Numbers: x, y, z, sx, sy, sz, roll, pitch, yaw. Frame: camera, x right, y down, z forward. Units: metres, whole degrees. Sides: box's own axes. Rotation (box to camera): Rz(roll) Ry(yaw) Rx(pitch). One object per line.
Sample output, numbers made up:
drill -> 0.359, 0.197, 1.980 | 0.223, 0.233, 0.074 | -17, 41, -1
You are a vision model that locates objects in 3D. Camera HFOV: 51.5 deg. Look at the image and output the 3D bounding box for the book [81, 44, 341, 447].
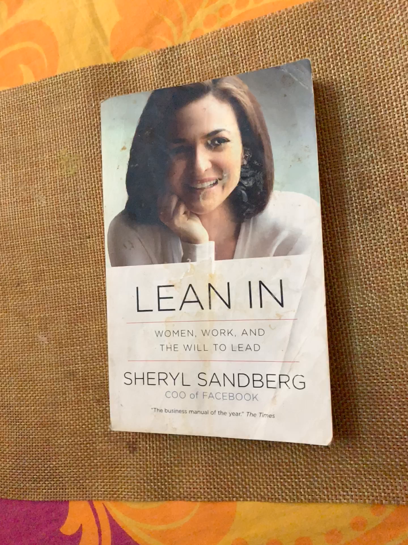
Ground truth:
book -> -0.001, -0.012, 0.254 | 0.141, 0.026, 0.212 | -5, 85, 18
